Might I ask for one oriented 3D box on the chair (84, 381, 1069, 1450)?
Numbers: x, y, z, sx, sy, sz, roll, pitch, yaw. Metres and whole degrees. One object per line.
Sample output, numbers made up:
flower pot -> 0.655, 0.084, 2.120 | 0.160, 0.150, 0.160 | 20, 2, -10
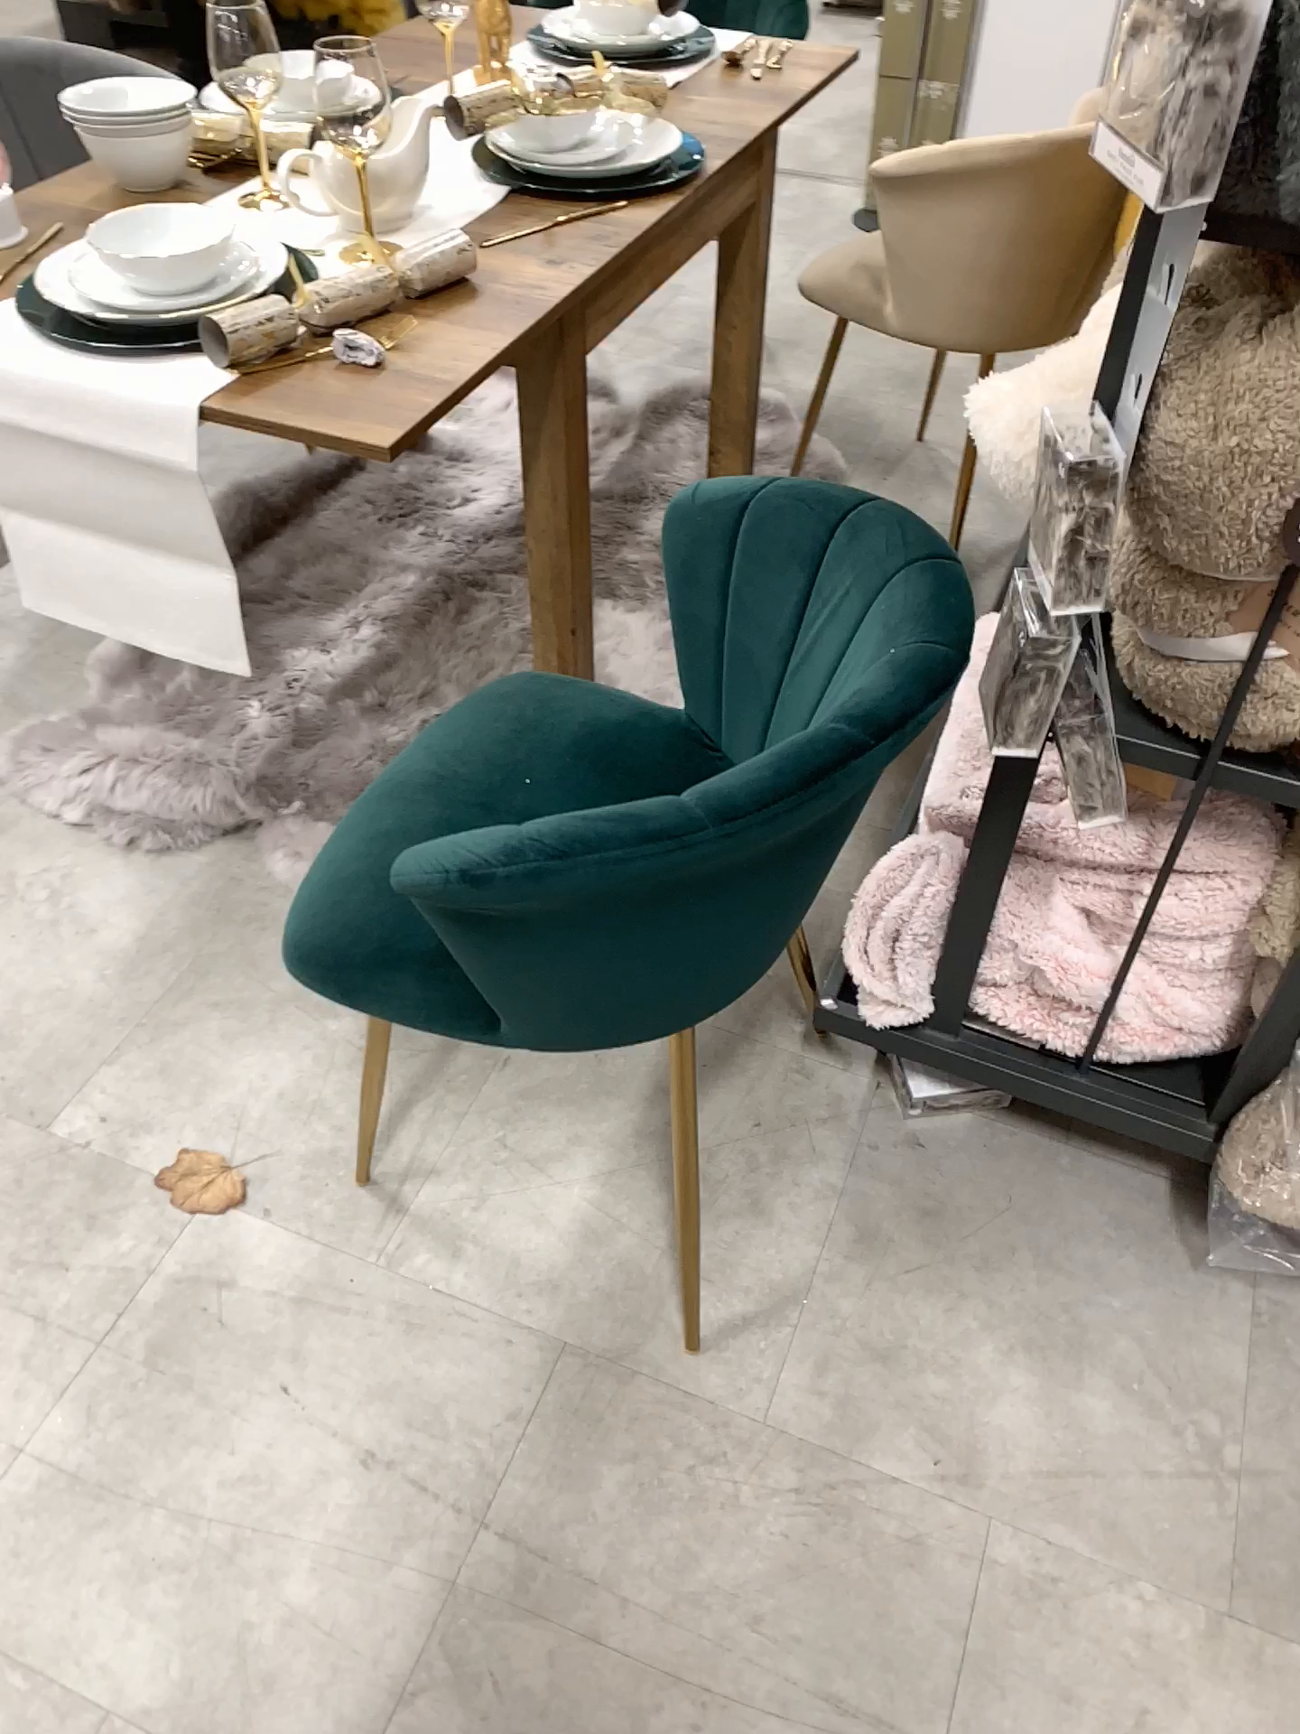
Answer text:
chair -> -0.018, 0.038, 1.242 | 0.570, 0.692, 0.552 | 17, 47, 16
